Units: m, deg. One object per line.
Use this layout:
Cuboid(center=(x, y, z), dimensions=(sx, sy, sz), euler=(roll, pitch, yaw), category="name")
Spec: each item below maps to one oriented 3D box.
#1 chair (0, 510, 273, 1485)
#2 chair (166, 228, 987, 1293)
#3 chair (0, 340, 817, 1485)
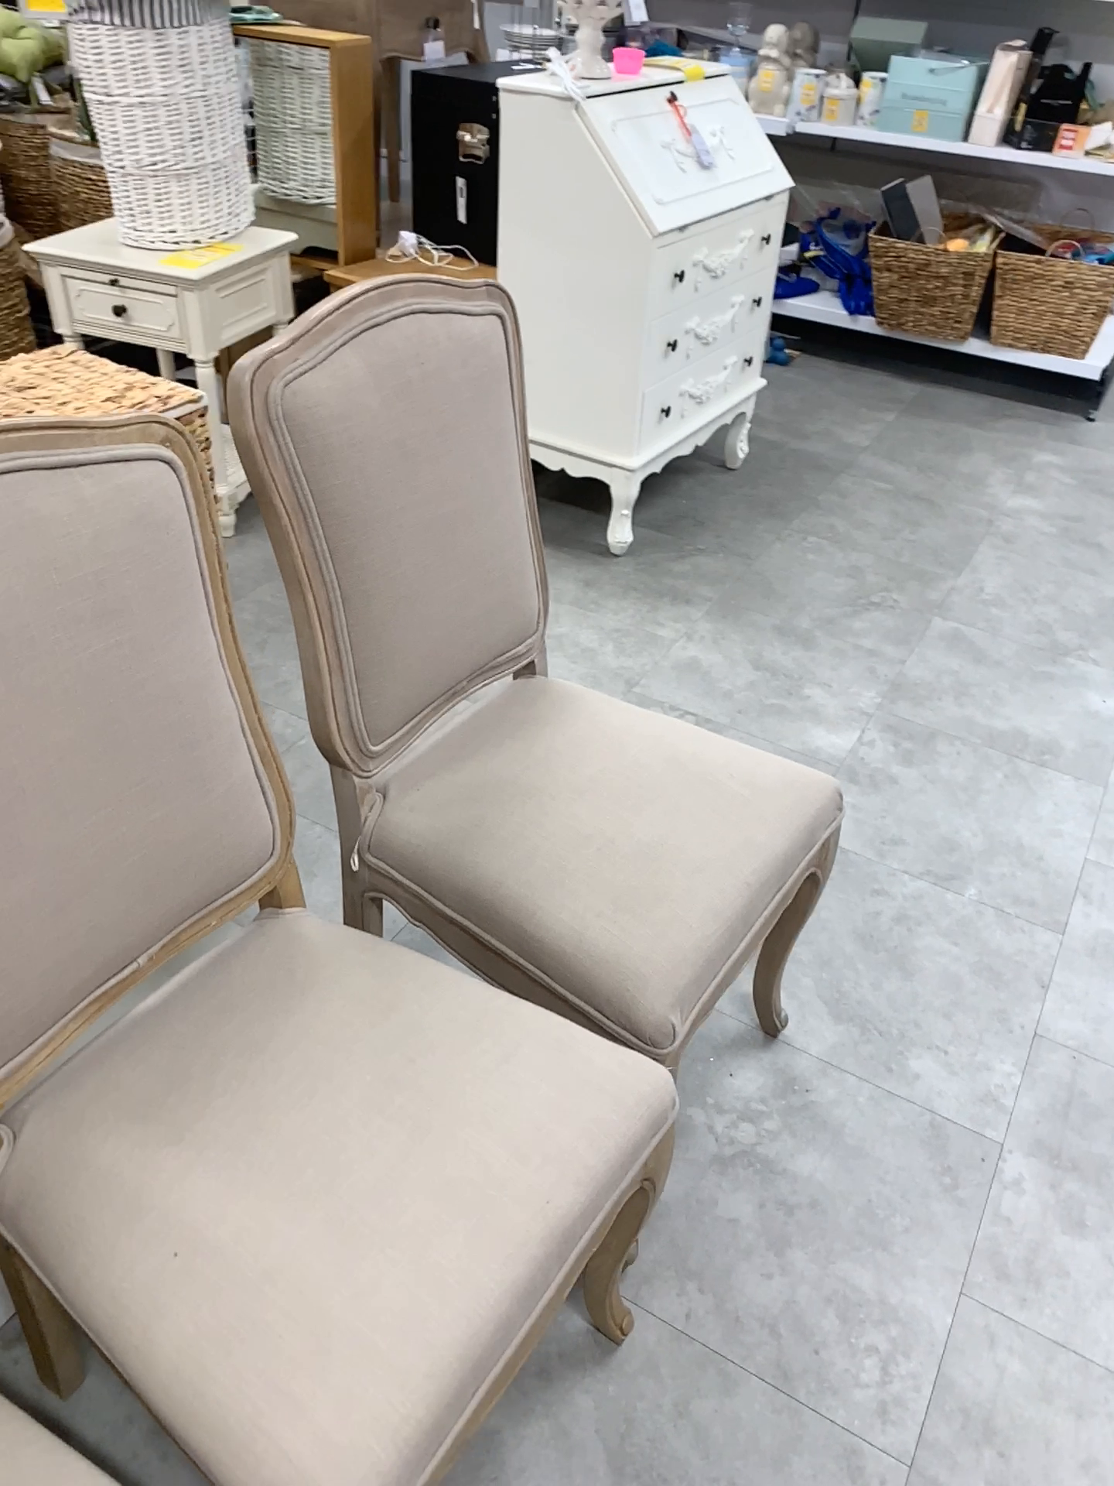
Cuboid(center=(-0.569, 0.495, 0.604), dimensions=(0.547, 0.973, 0.510), euler=(27, 43, 24), category="chair")
Cuboid(center=(0.005, 0.036, 1.303), dimensions=(0.546, 0.973, 0.510), euler=(24, 42, 20), category="chair")
Cuboid(center=(-0.244, 0.283, 0.957), dimensions=(0.547, 0.973, 0.510), euler=(27, 43, 24), category="chair")
